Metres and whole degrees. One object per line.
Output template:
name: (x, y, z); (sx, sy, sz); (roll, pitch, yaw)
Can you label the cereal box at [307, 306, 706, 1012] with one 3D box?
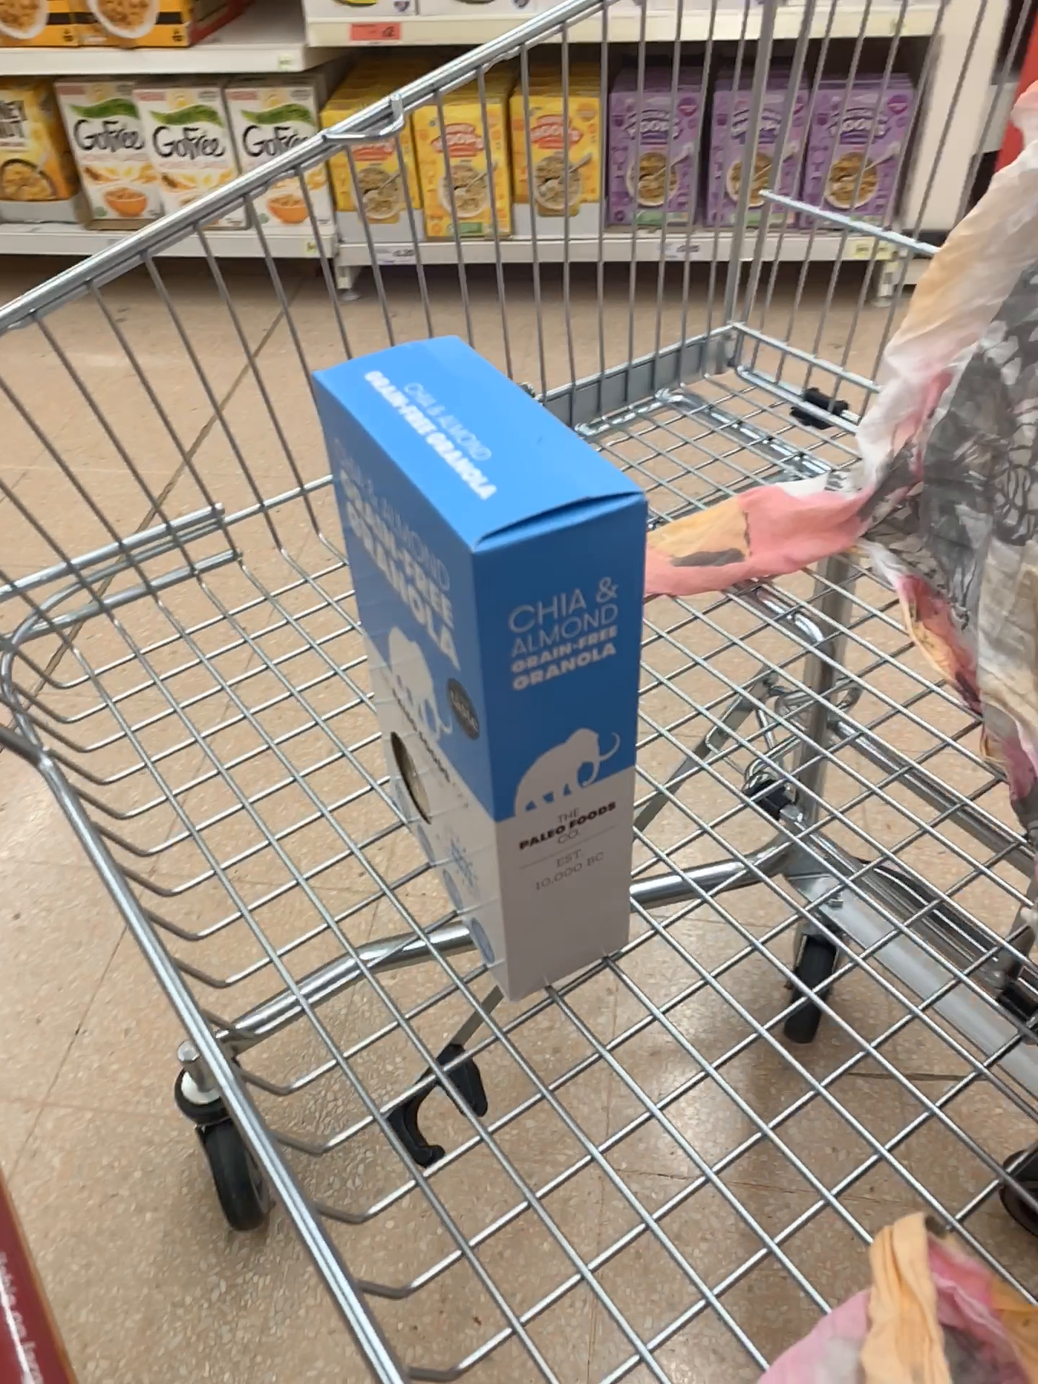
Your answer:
cereal box: (-0.008, -0.007, 0.386); (0.060, 0.208, 0.141); (-21, 46, -20)
